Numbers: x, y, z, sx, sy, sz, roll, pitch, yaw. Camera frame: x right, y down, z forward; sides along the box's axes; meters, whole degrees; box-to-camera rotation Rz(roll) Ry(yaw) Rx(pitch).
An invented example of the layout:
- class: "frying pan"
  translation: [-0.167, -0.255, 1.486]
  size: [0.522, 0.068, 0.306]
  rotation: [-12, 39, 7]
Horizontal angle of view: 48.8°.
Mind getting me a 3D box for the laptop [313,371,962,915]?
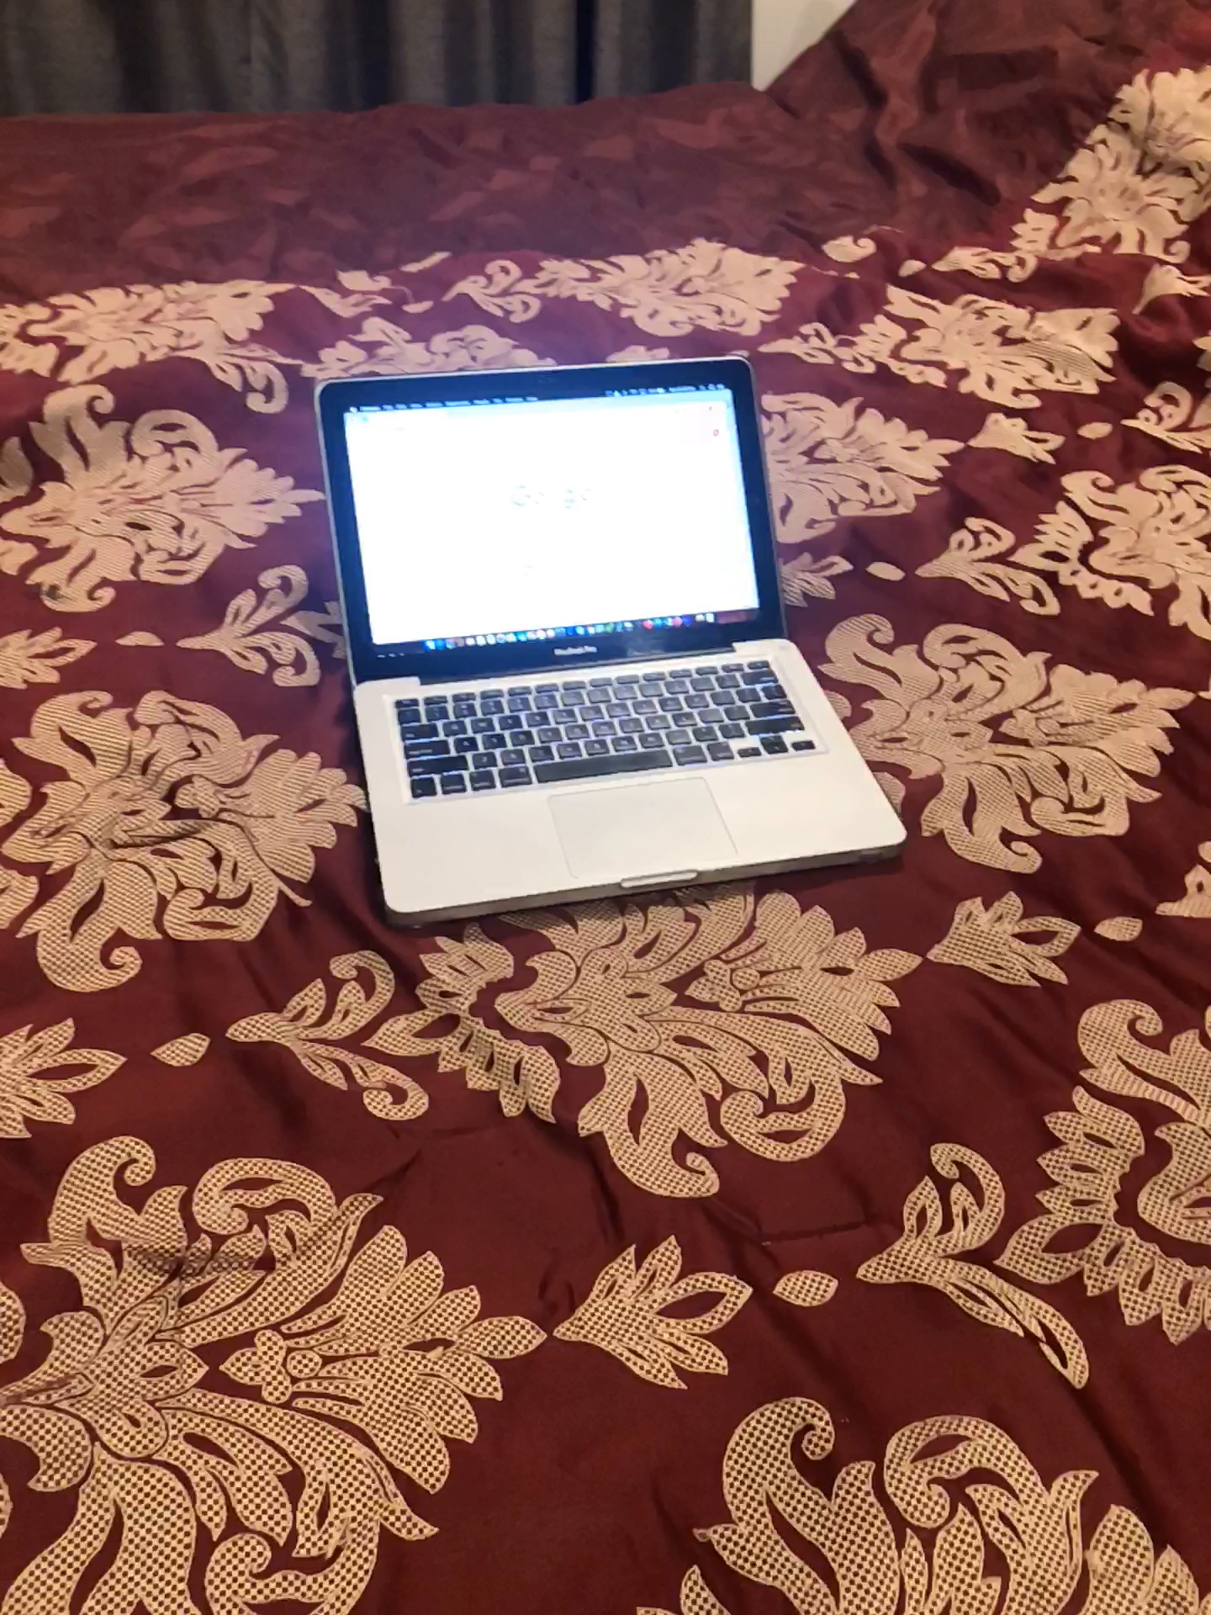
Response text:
- class: "laptop"
  translation: [-0.007, -0.121, 0.802]
  size: [0.292, 0.133, 0.344]
  rotation: [-7, 43, -11]
